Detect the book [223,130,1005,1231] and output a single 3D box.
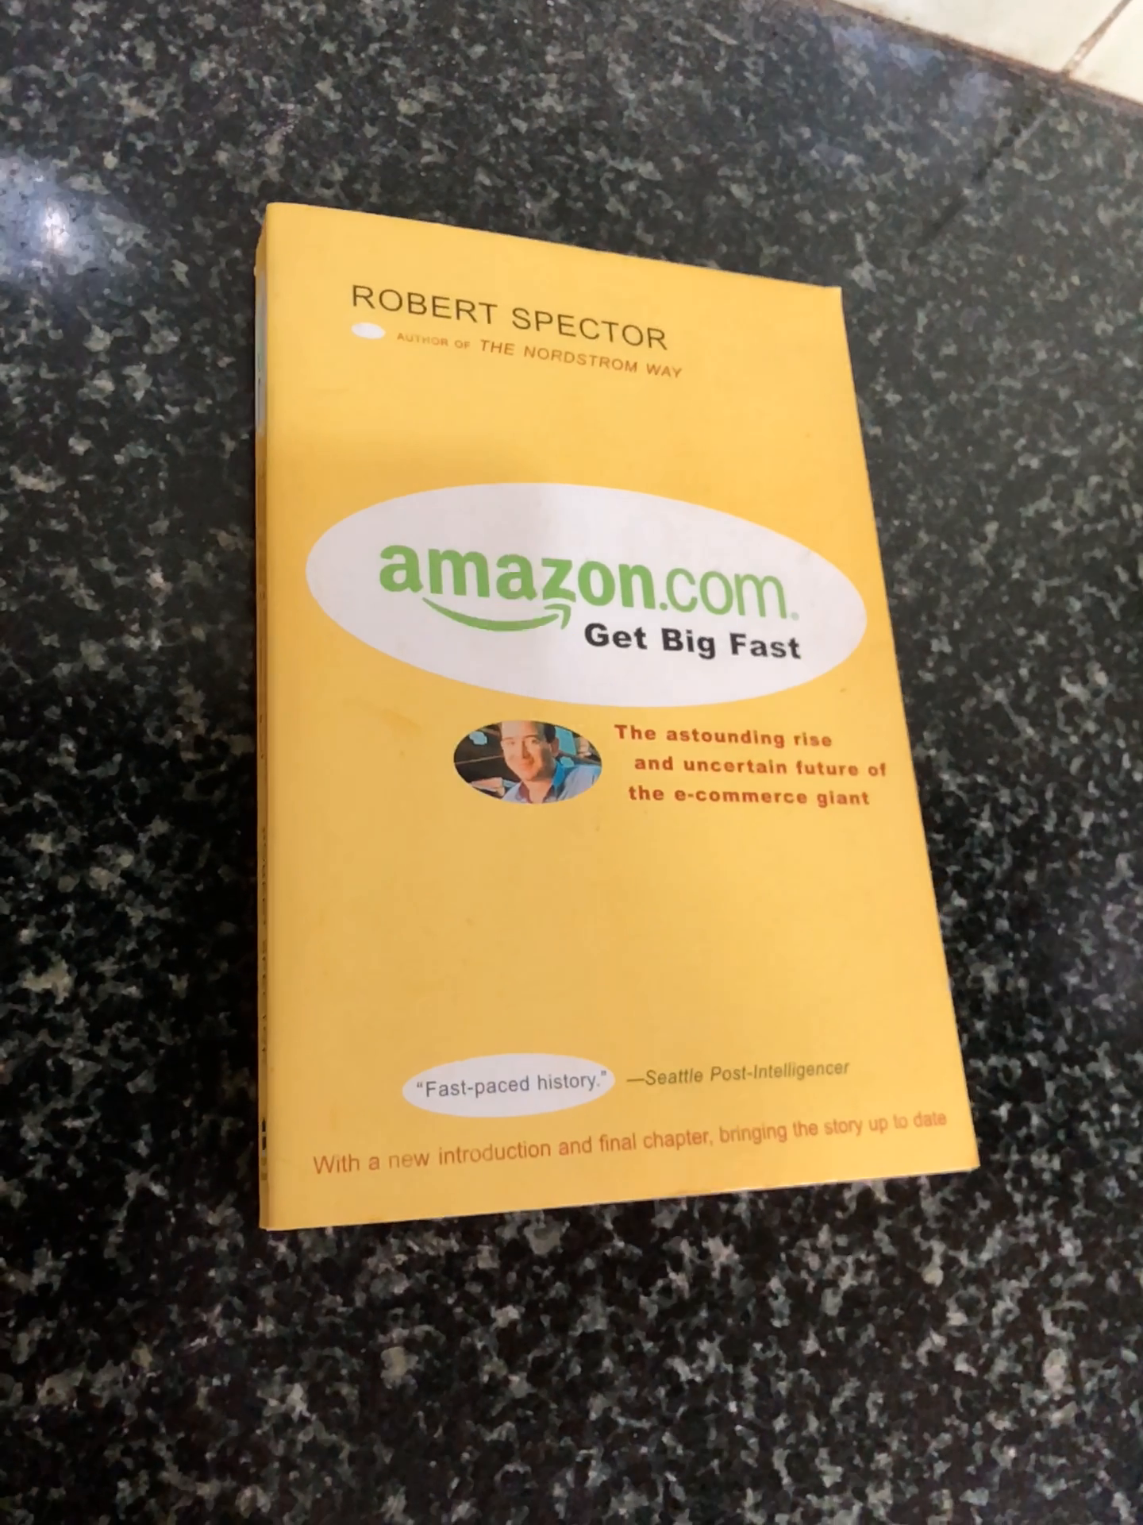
[{"bbox_3d":[0.003,-0.021,0.264,0.140,0.030,0.210,2,71,-19],"label":"book"}]
